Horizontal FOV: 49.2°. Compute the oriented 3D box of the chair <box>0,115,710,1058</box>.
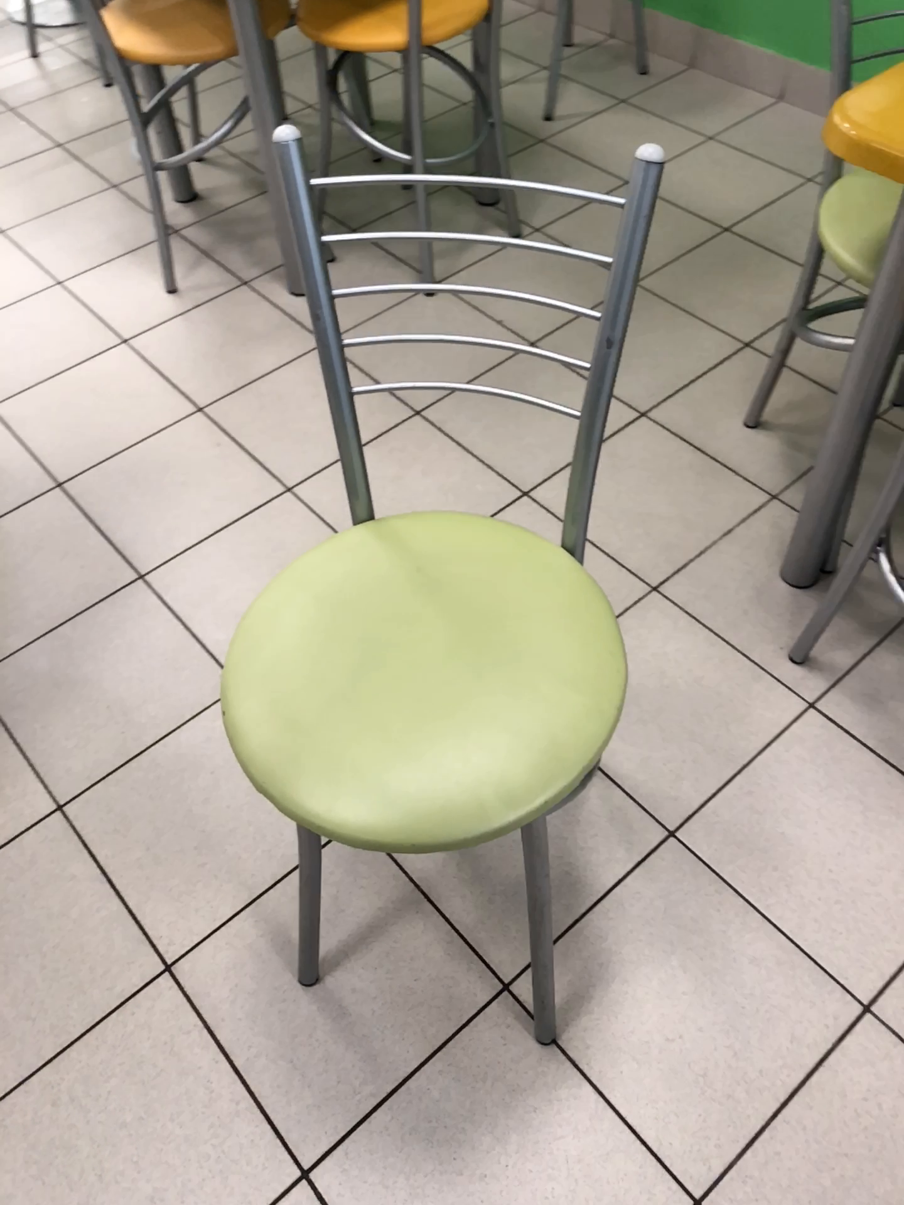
[{"bbox_3d":[-0.012,0.050,0.992,0.374,0.826,0.481,9,52,11],"label":"chair"}]
